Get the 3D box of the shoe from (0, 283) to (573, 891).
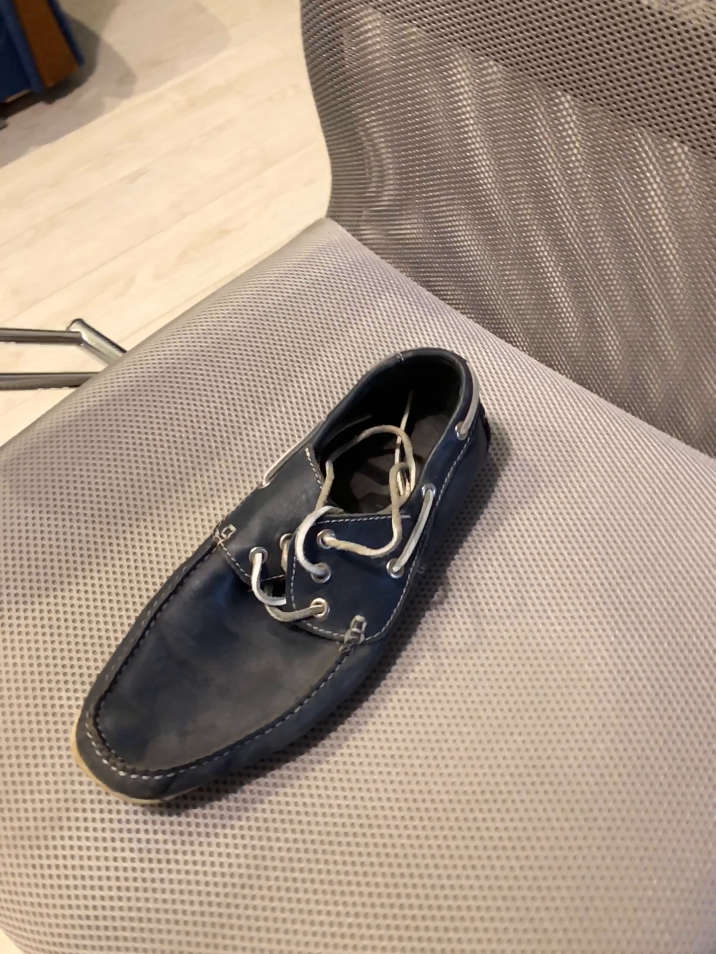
[{"bbox_3d":[-0.025,0.045,0.415,0.120,0.100,0.291,34,66,20],"label":"shoe"}]
